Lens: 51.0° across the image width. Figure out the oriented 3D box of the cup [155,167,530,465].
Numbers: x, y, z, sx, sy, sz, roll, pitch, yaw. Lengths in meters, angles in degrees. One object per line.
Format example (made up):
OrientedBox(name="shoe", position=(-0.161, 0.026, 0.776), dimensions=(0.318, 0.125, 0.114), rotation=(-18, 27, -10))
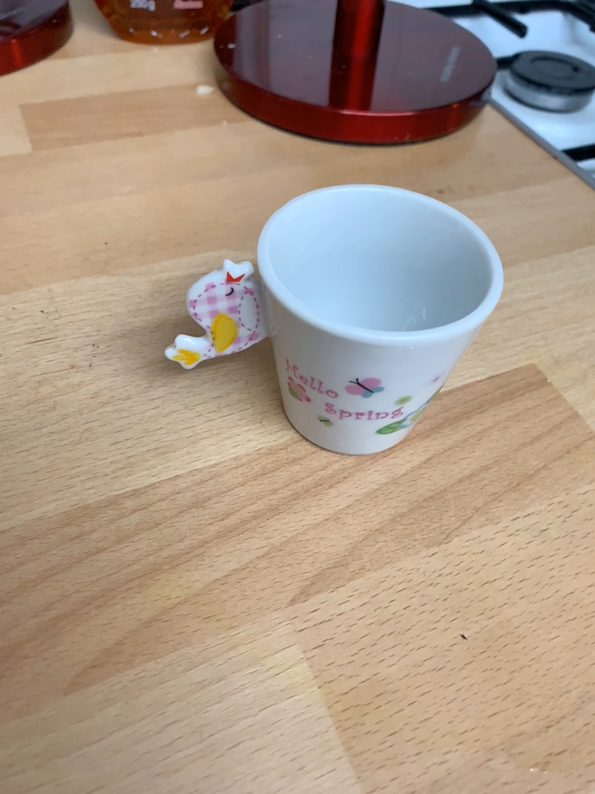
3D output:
OrientedBox(name="cup", position=(0.006, -0.023, 0.169), dimensions=(0.080, 0.050, 0.060), rotation=(-3, 50, -8))
